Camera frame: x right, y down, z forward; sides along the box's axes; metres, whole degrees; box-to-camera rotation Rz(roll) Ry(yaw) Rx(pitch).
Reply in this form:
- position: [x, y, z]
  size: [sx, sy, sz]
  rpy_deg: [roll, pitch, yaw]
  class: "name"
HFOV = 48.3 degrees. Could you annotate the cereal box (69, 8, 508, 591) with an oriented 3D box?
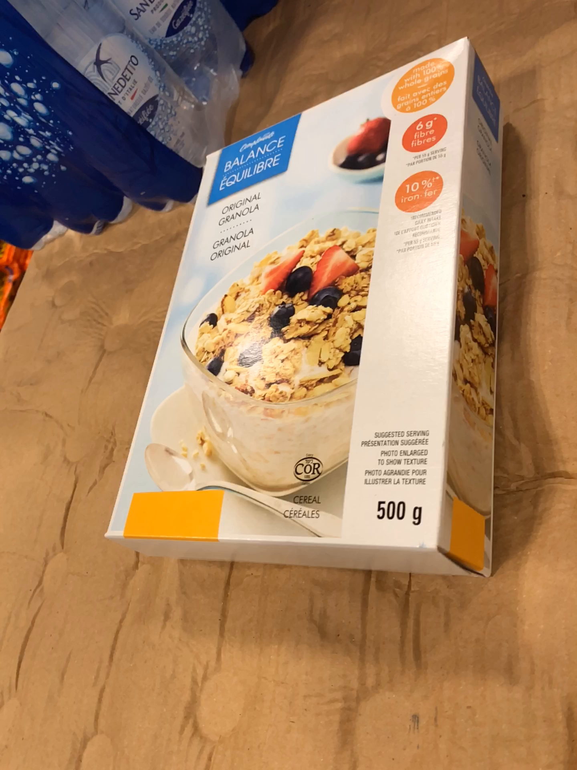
- position: [0.006, -0.039, 0.314]
  size: [0.181, 0.050, 0.250]
  rpy_deg: [-8, 60, 35]
  class: "cereal box"
